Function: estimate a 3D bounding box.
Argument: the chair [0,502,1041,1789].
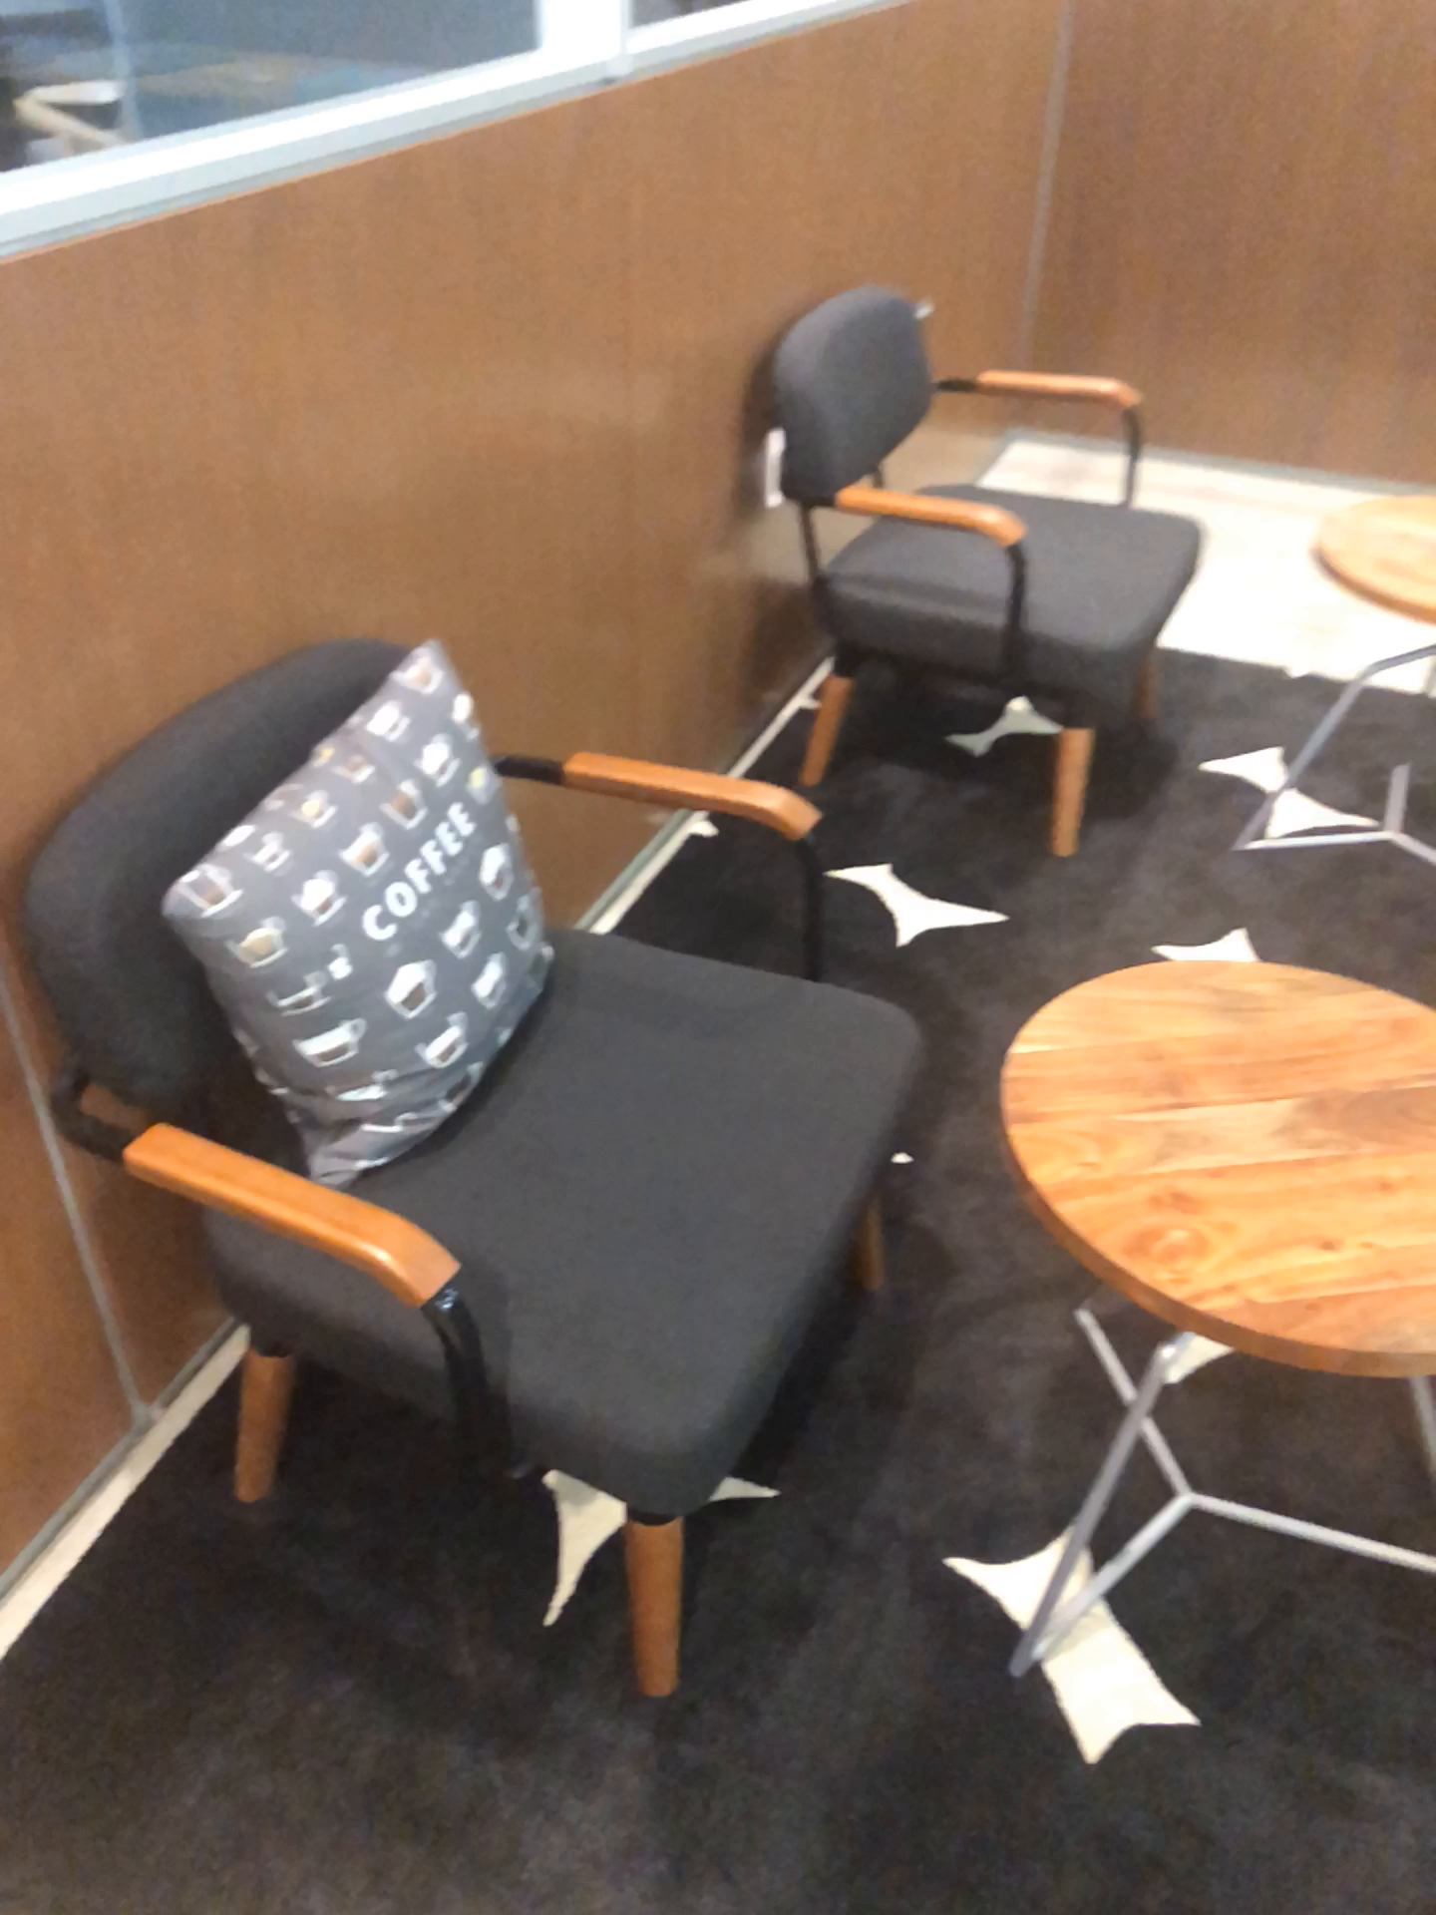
[{"bbox_3d":[-0.115,0.095,1.403,0.570,0.714,0.736,12,37,21],"label":"chair"}]

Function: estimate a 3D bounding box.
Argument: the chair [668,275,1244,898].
[{"bbox_3d":[0.395,-0.636,2.568,0.680,0.714,0.686,13,37,21],"label":"chair"}]
